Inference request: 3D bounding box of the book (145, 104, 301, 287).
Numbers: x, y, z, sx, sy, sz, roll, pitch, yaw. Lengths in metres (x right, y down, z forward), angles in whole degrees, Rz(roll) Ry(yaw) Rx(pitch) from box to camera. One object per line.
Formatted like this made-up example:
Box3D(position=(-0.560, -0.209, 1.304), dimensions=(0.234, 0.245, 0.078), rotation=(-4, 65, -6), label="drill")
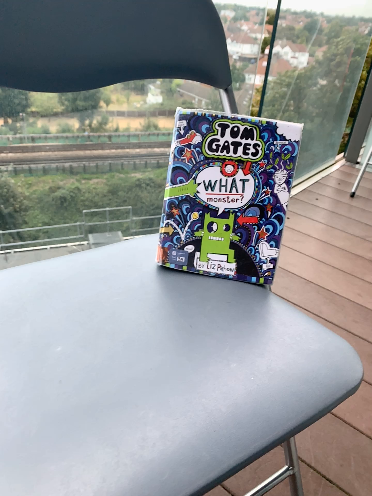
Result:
Box3D(position=(0.043, -0.065, 0.487), dimensions=(0.160, 0.199, 0.050), rotation=(9, 11, 6), label="book")
